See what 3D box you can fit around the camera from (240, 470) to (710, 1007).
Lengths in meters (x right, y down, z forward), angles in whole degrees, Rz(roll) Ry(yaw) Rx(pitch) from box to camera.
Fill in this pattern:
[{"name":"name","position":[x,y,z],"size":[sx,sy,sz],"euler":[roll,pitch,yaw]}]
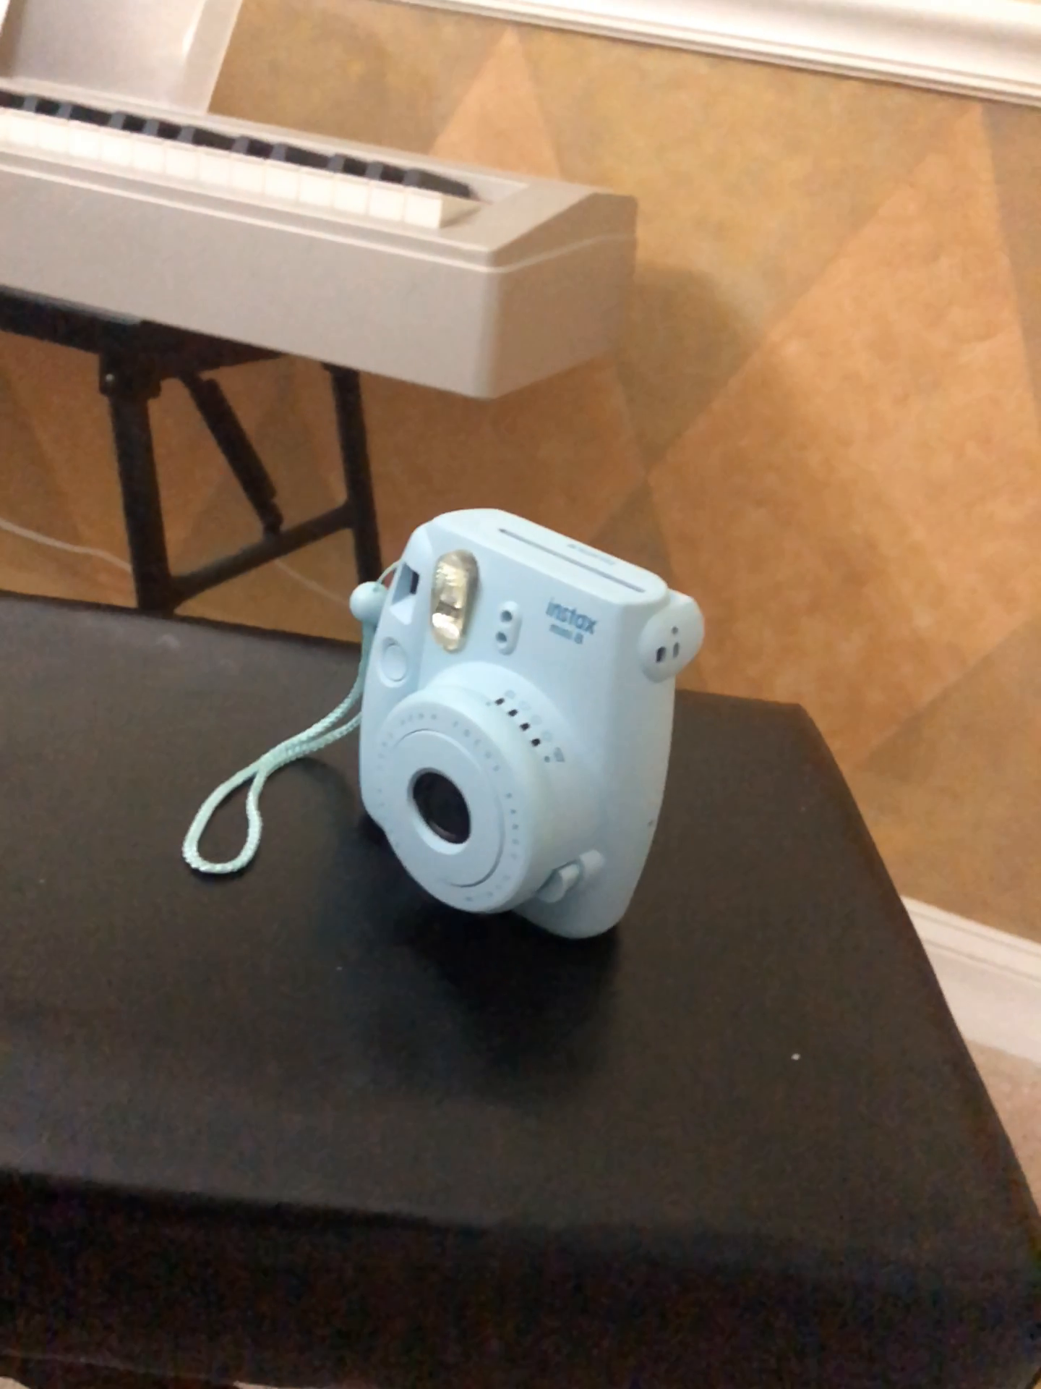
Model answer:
[{"name":"camera","position":[-0.021,0.007,0.369],"size":[0.120,0.118,0.068],"euler":[28,31,32]}]
